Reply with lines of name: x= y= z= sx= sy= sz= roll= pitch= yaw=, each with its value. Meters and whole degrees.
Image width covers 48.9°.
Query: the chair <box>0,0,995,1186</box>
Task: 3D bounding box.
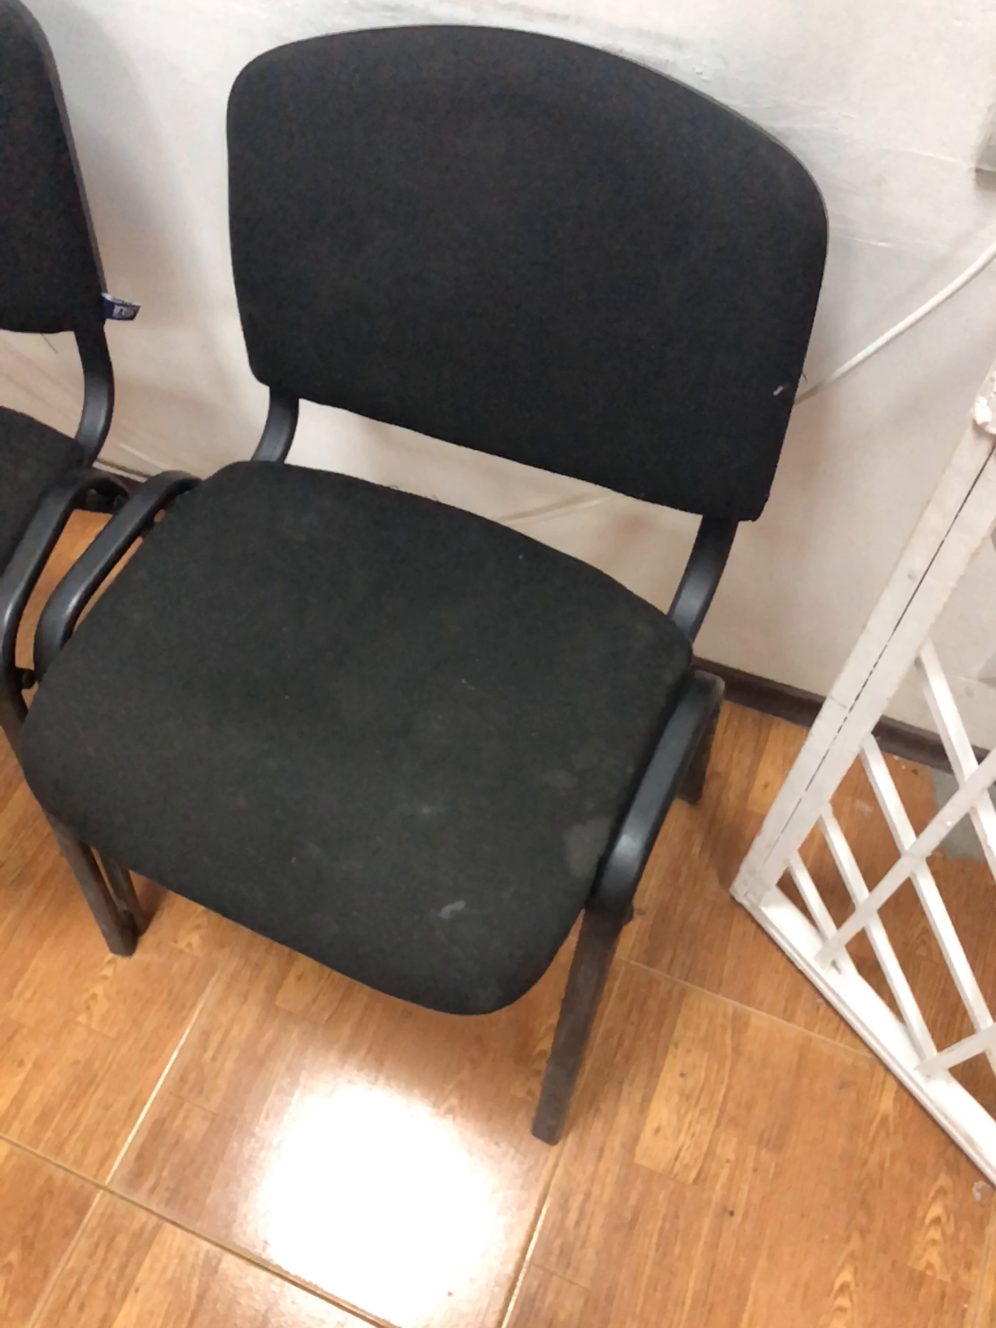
chair: x=-0.043 y=-0.034 z=0.929 sx=0.570 sy=0.689 sz=0.621 roll=21 pitch=62 yaw=14
